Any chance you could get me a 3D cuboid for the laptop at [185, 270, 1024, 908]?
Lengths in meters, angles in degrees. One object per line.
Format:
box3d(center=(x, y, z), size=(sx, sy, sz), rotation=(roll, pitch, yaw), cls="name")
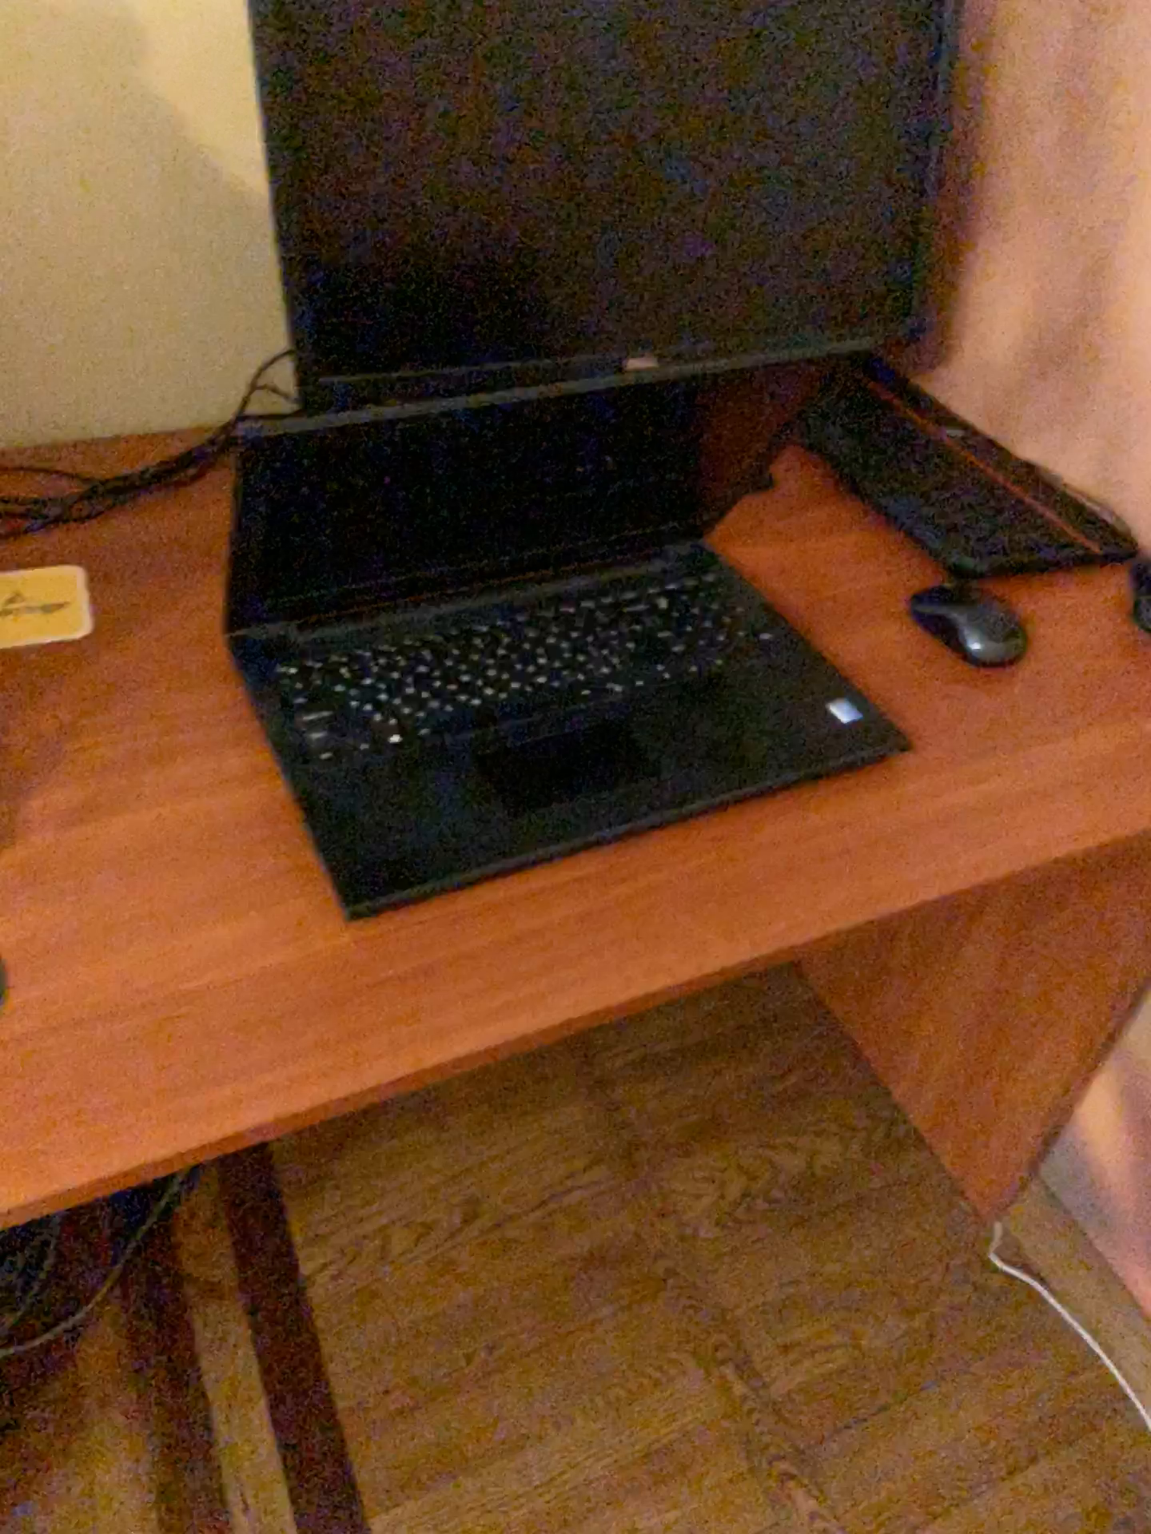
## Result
box3d(center=(0.002, -0.128, 0.696), size=(0.372, 0.212, 0.255), rotation=(-15, 45, -22), cls="laptop")
